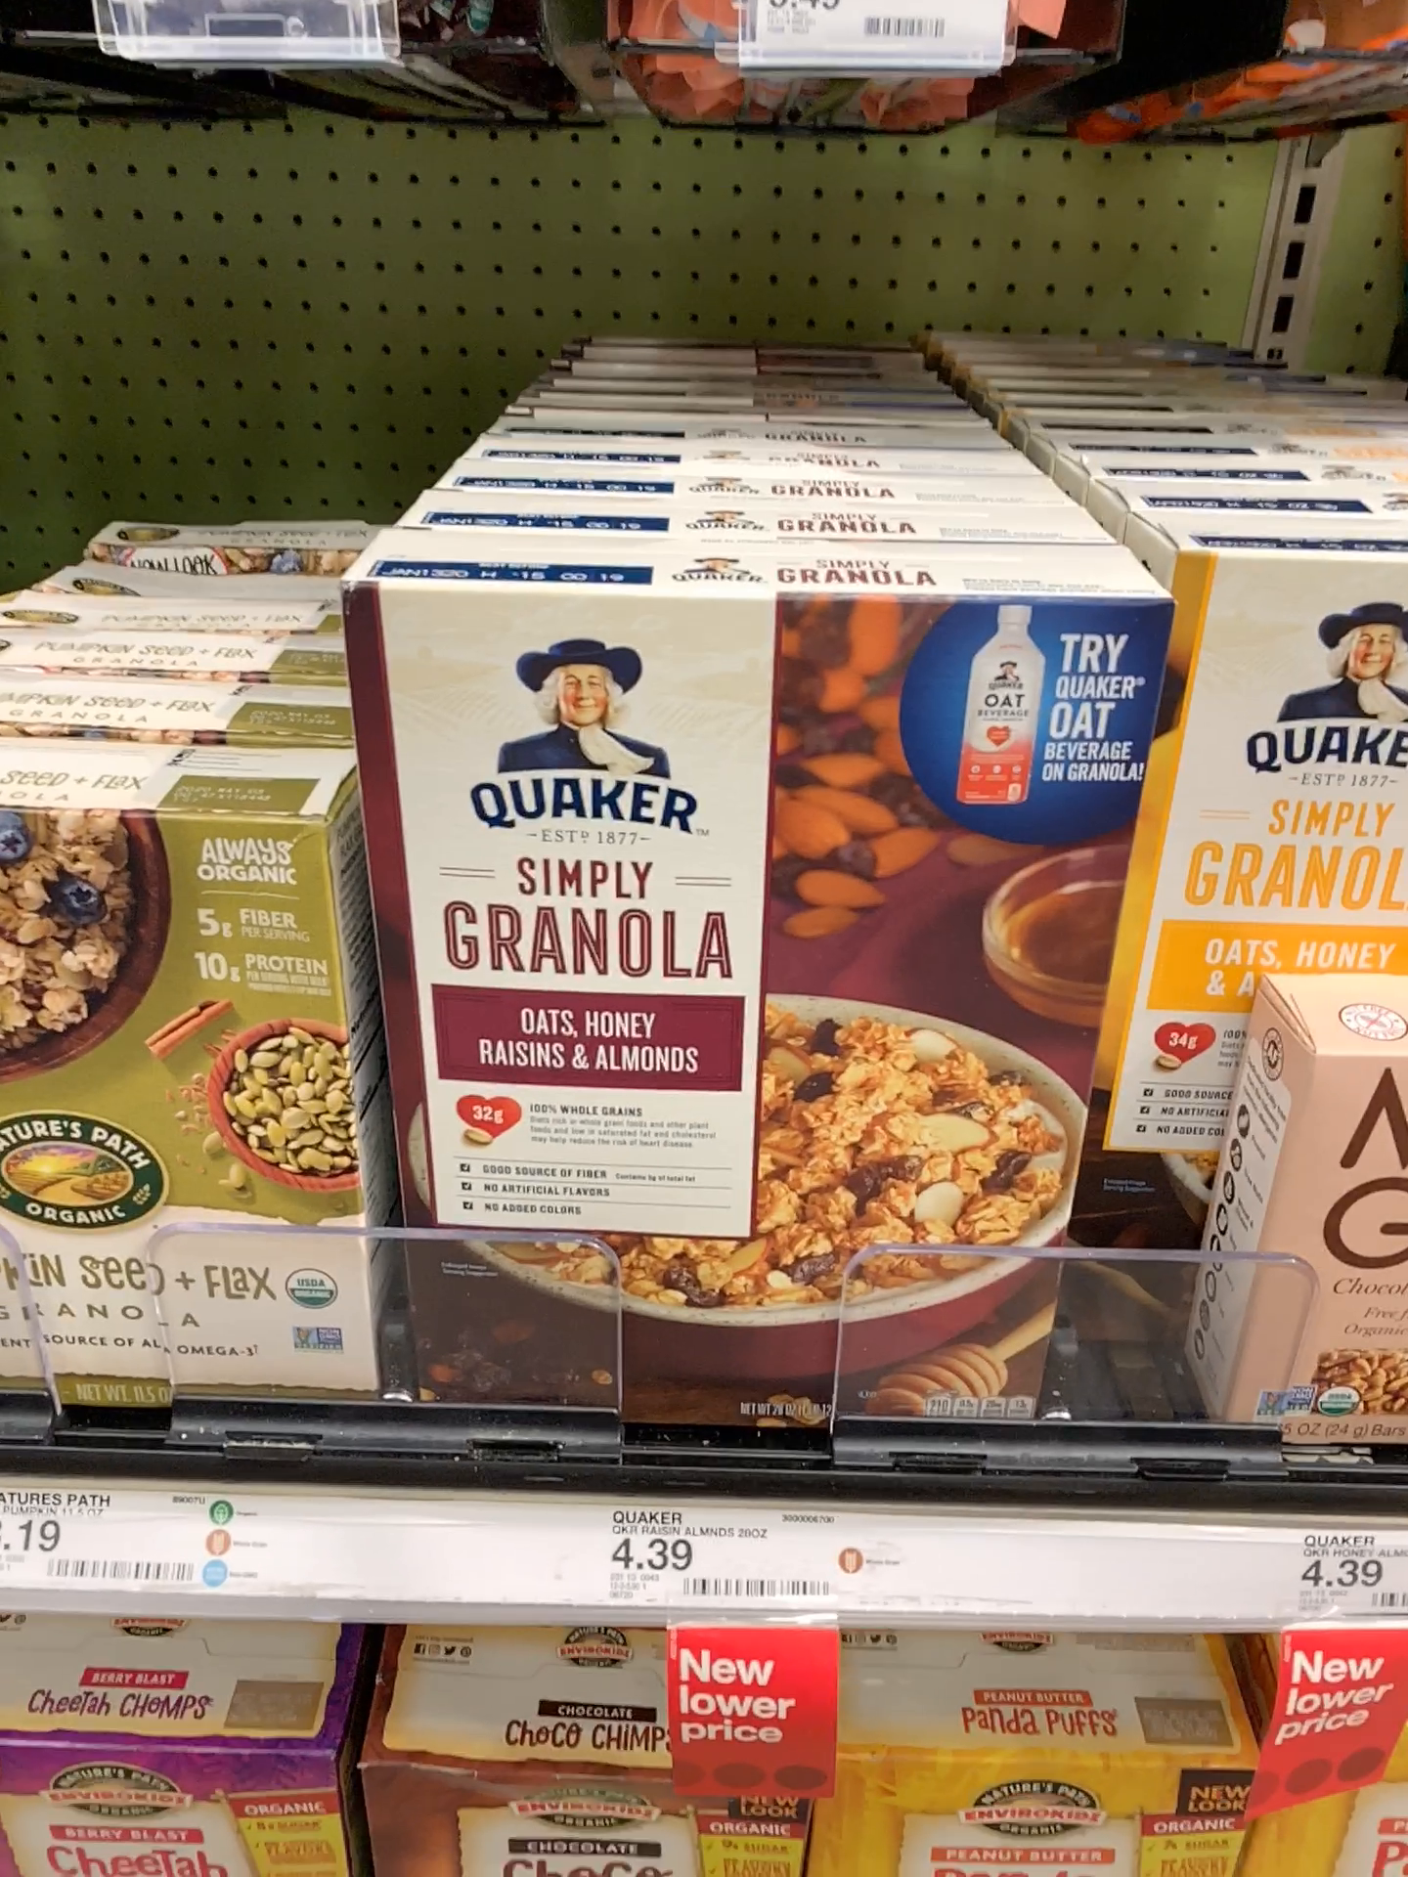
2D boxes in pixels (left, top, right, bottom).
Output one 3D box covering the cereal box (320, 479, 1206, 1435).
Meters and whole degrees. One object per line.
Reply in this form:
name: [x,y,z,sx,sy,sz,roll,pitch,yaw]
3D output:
cereal box: [0.009,0.016,0.379,0.180,0.249,0.060,1,29,0]
